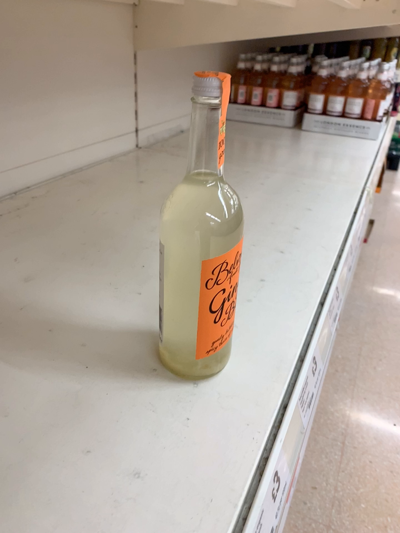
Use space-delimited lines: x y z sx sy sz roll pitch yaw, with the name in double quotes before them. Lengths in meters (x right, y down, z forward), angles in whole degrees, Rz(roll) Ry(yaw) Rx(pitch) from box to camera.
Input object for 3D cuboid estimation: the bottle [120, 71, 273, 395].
"bottle" -0.007 -0.026 0.388 0.090 0.277 0.084 2 28 -1
